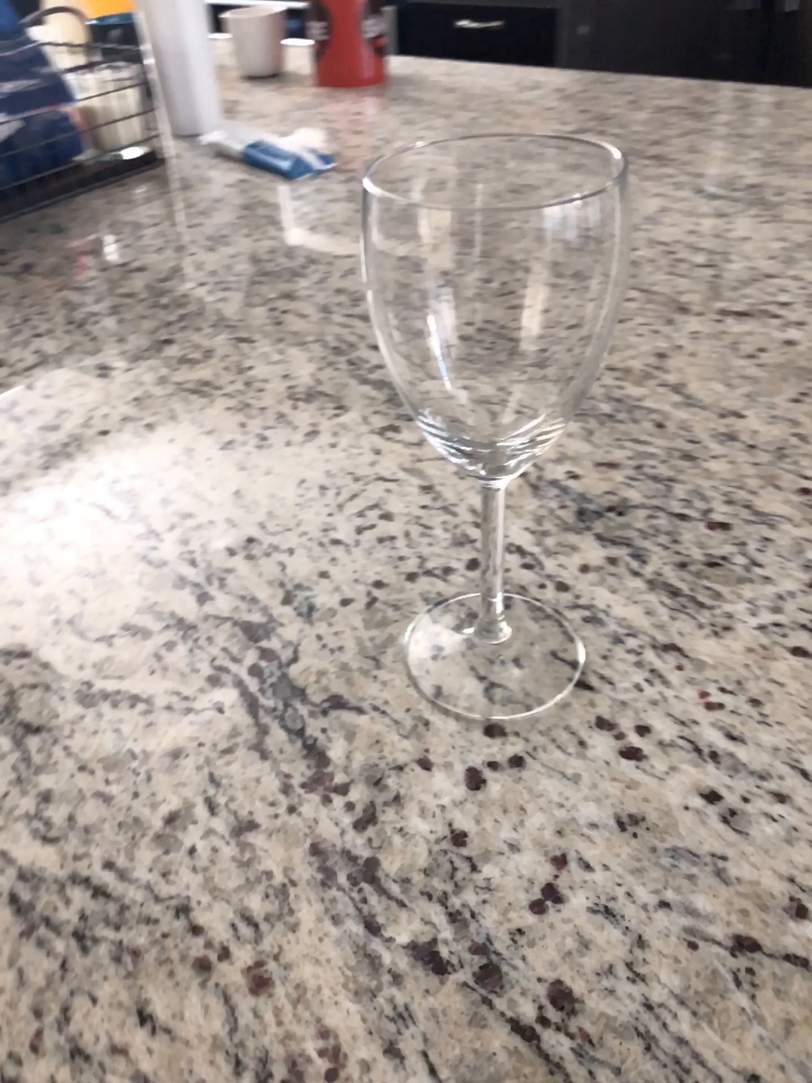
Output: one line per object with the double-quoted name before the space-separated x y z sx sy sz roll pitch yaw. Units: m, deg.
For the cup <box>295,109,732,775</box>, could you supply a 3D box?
"cup" 0.026 -0.027 0.274 0.080 0.169 0.081 -2 36 2
